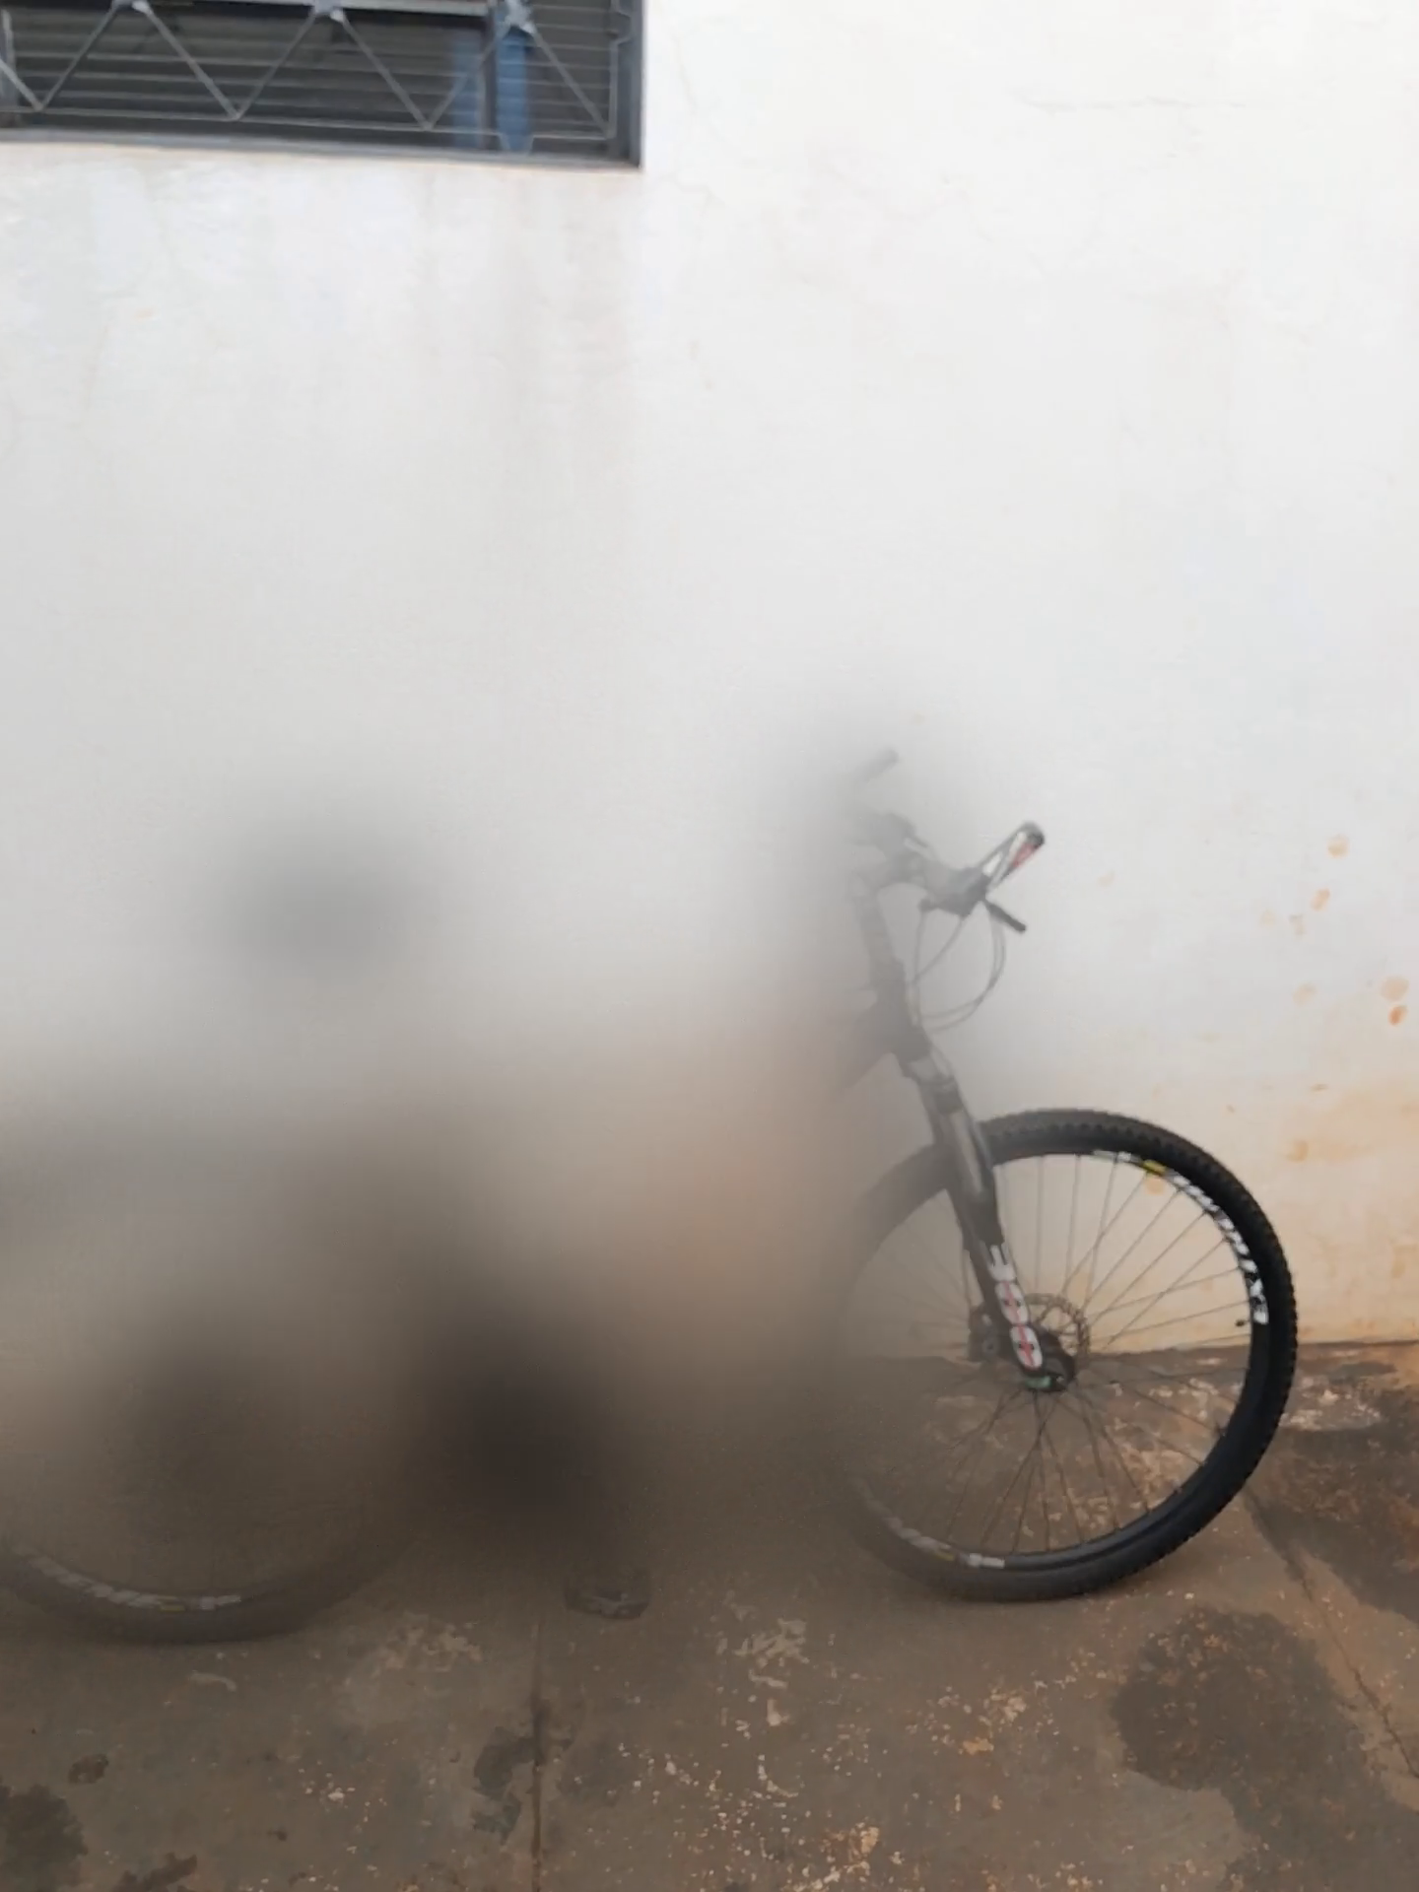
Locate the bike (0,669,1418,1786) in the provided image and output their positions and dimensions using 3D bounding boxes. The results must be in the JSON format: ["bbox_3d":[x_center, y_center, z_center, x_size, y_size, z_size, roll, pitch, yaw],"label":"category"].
[{"bbox_3d":[-0.098,0.274,1.990,1.763,1.085,0.725,-1,23,-7],"label":"bike"}]
